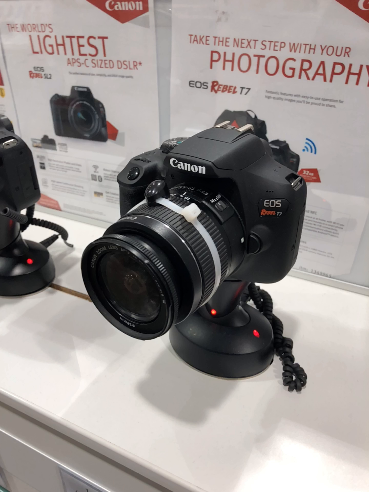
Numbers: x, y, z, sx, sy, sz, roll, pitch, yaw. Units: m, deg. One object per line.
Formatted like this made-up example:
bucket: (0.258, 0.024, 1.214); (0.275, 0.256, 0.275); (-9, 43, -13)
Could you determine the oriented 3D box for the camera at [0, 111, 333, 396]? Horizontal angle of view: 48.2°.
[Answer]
camera: (-0.004, -0.018, 0.262); (0.140, 0.090, 0.150); (17, 34, 27)
